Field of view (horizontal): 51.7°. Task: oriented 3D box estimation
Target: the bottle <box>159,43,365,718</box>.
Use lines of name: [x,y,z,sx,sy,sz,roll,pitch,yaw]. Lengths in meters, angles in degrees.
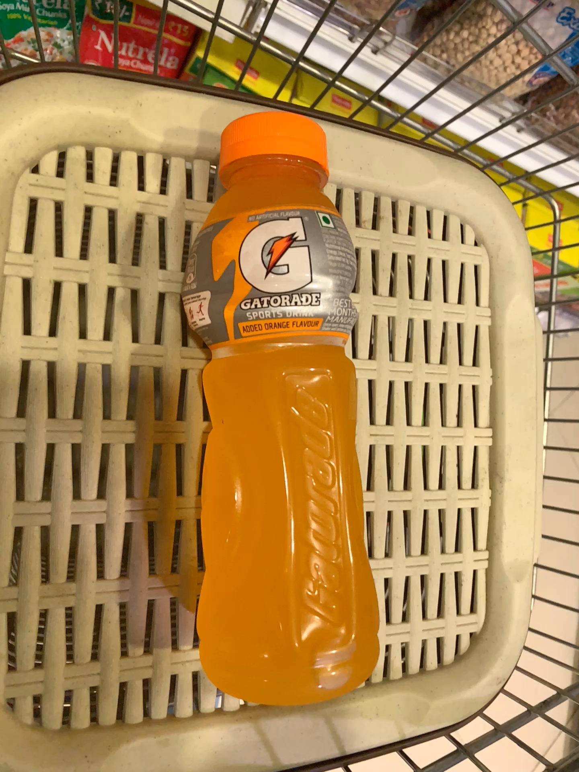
bottle: [-0.007,-0.002,0.218,0.060,0.060,0.210,-2,87,5]
